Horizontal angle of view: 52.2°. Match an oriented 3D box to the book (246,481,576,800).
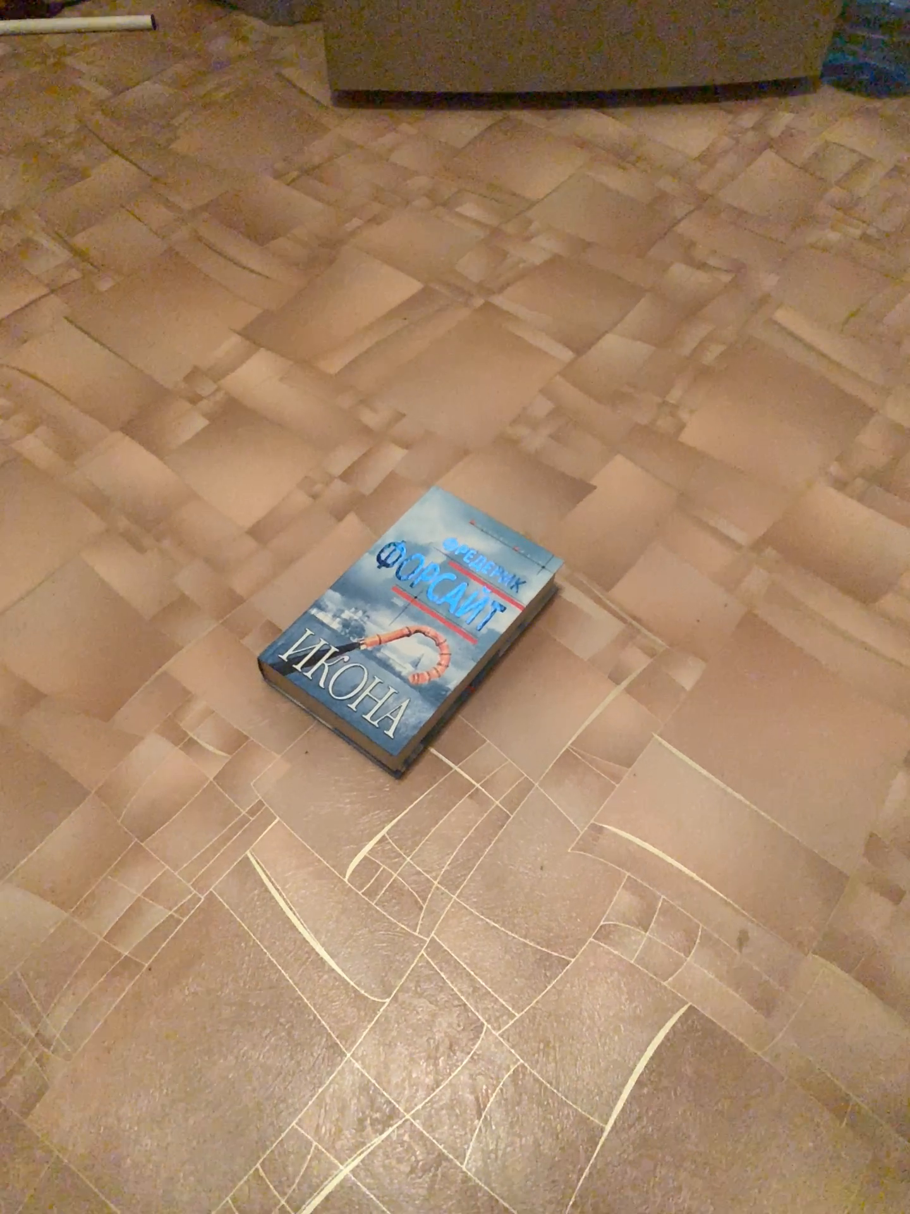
[{"bbox_3d":[-0.031,0.018,0.758,0.153,0.056,0.224,34,63,21],"label":"book"}]
